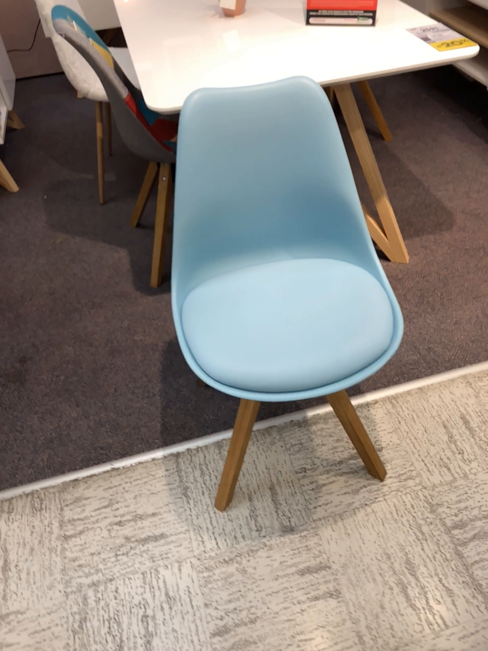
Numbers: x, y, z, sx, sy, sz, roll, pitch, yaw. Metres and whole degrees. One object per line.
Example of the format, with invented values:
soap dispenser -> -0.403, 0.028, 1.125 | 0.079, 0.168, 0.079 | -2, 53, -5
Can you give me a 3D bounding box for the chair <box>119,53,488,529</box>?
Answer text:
chair -> 0.091, -0.053, 1.185 | 0.540, 0.796, 0.563 | -10, 45, -6
